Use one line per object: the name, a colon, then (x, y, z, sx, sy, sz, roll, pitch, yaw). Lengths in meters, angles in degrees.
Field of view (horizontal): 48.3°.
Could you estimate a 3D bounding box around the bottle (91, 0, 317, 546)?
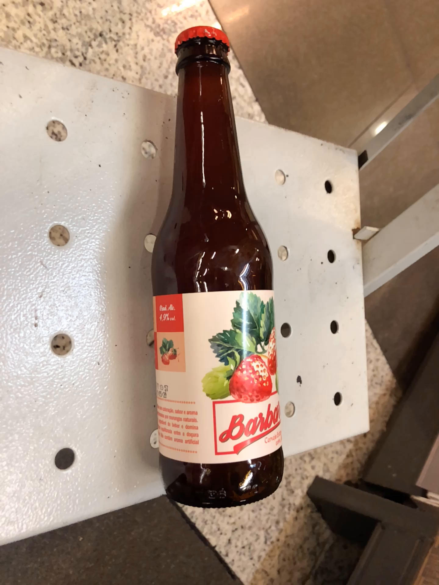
bottle: (-0.008, -0.023, 0.234, 0.070, 0.060, 0.240, -3, 88, -39)
